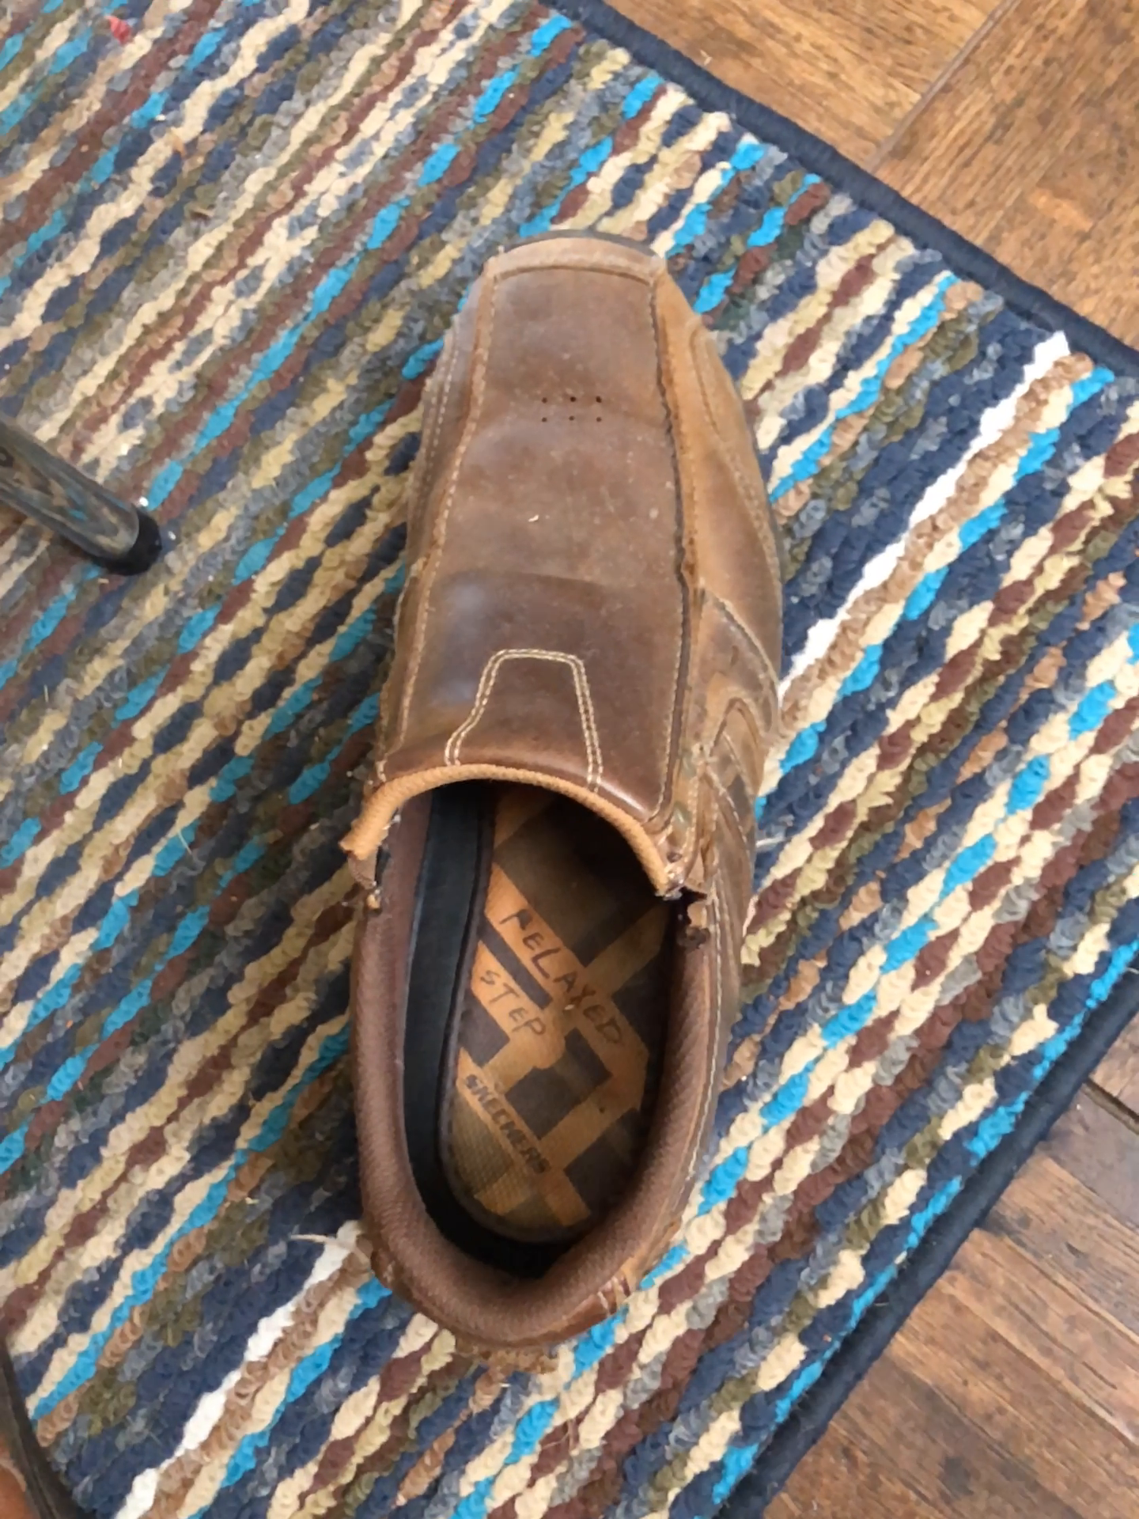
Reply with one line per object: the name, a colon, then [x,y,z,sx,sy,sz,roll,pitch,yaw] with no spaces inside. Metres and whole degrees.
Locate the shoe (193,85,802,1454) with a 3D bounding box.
shoe: [-0.005,-0.005,0.310,0.100,0.100,0.280,4,80,6]
